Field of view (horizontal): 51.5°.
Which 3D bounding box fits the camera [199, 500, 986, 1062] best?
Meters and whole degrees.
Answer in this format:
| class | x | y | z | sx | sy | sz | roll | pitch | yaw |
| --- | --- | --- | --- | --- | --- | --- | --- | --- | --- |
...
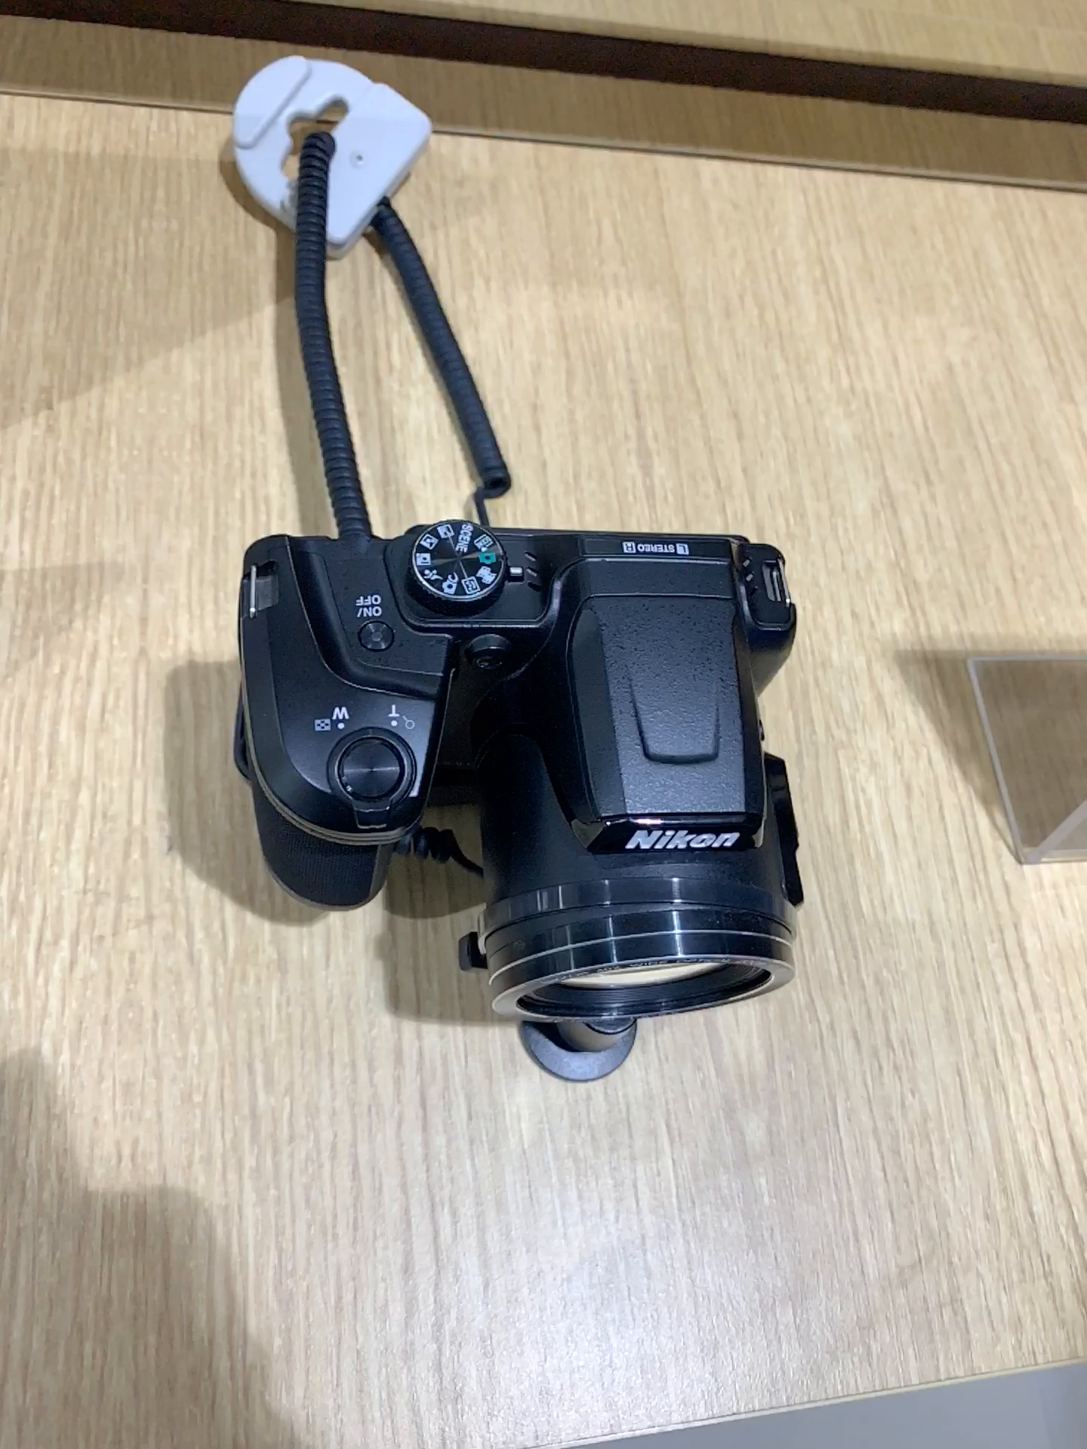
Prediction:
| class | x | y | z | sx | sy | sz | roll | pitch | yaw |
| --- | --- | --- | --- | --- | --- | --- | --- | --- | --- |
| camera | 0.001 | 0.012 | 0.213 | 0.120 | 0.070 | 0.080 | -2 | 67 | -13 |
